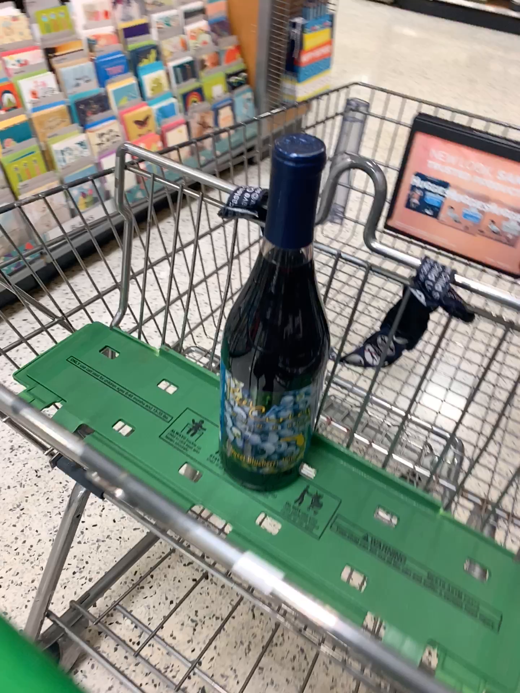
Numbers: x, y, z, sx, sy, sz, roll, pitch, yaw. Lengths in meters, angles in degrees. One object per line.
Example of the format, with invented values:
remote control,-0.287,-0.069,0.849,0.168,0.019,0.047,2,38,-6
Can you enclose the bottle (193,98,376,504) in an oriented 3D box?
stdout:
bottle,0.006,-0.006,0.372,0.080,0.286,0.075,3,44,-3
